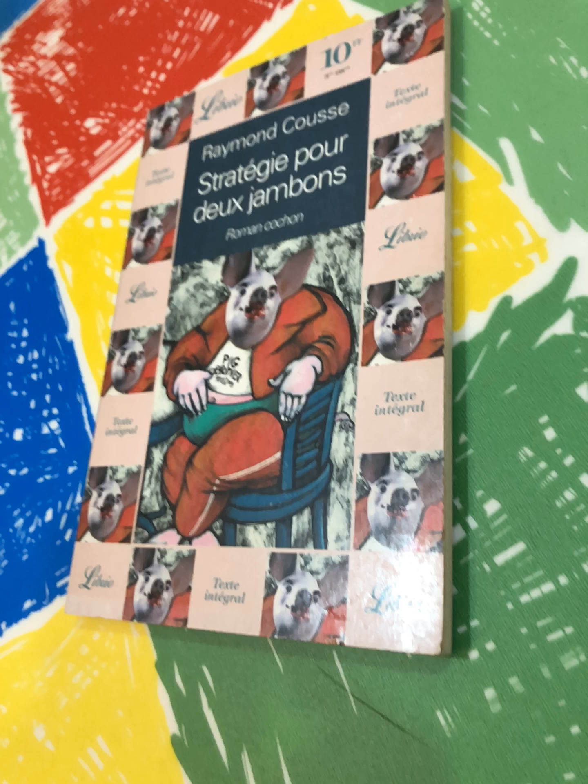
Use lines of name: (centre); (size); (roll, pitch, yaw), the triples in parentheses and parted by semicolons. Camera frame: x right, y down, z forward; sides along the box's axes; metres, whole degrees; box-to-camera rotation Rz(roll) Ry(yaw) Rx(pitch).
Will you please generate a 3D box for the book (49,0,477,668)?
book: (-0.011, -0.027, 0.209); (0.130, 0.014, 0.197); (-6, 70, 30)
